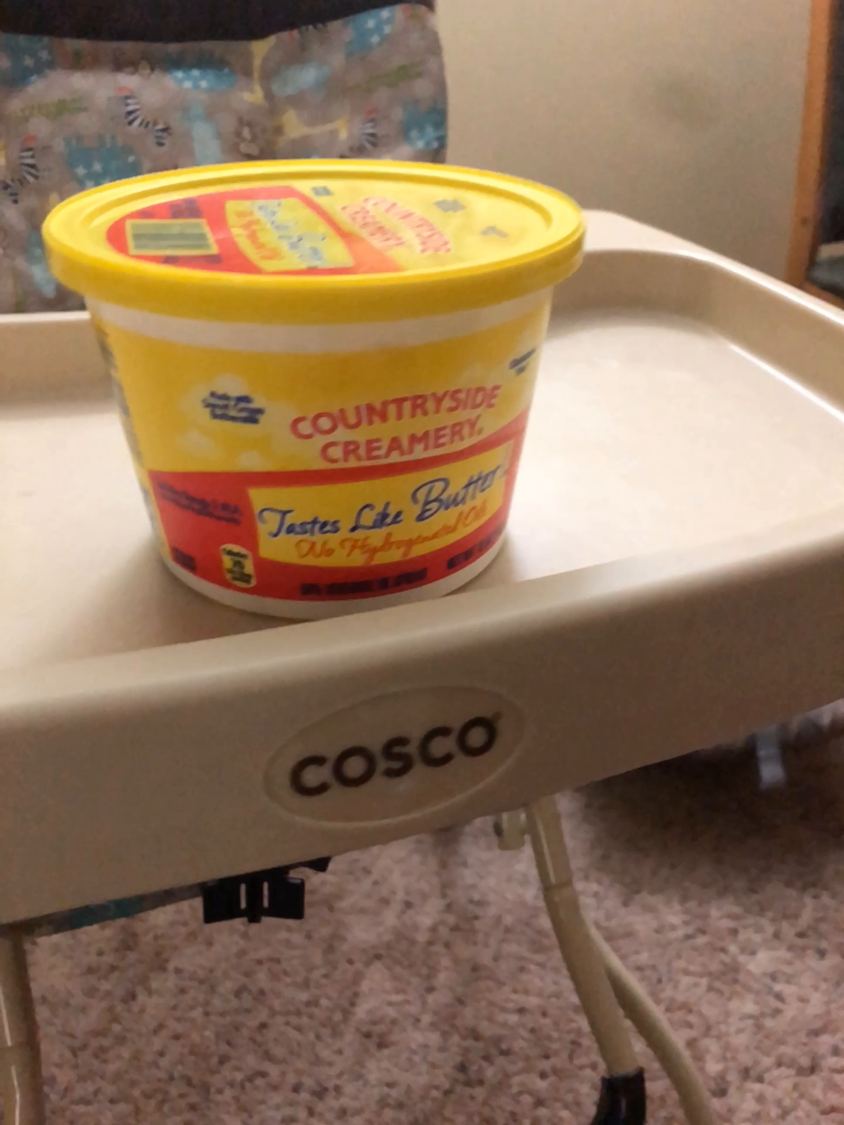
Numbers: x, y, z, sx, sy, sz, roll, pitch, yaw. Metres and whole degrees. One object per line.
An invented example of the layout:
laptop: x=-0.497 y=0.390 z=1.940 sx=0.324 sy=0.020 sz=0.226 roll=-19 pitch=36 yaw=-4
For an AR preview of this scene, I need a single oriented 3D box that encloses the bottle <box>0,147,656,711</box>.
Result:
bottle: x=-0.029 y=-0.044 z=0.235 sx=0.120 sy=0.090 sz=0.110 roll=1 pitch=33 yaw=0
